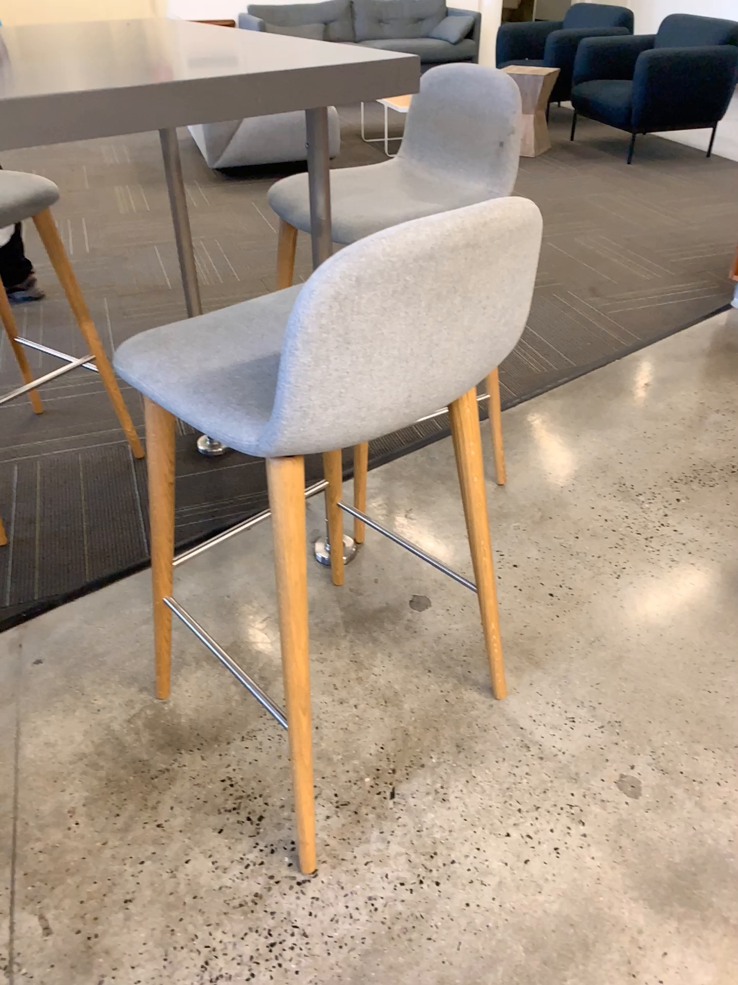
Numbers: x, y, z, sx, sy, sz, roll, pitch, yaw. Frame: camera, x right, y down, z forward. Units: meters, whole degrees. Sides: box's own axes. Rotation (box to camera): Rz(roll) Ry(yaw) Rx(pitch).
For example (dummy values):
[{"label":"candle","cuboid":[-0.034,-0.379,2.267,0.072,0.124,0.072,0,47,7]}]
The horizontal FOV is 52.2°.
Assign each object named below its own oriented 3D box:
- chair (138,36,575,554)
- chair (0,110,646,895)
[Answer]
[{"label":"chair","cuboid":[-0.090,-0.578,1.982,0.580,0.974,0.965,-19,40,-25]},{"label":"chair","cuboid":[-0.070,-0.016,1.163,0.551,0.914,0.573,-28,43,-33]}]
